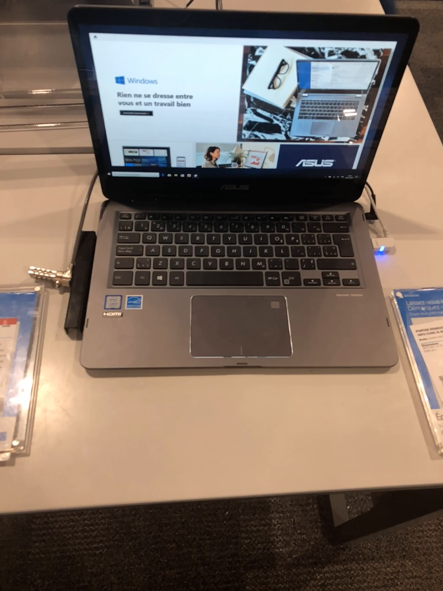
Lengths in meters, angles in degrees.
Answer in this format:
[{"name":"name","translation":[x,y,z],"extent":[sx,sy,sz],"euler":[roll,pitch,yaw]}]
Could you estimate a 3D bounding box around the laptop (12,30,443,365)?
[{"name":"laptop","translation":[0.019,-0.082,0.448],"extent":[0.302,0.217,0.224],"euler":[0,56,-2]}]
